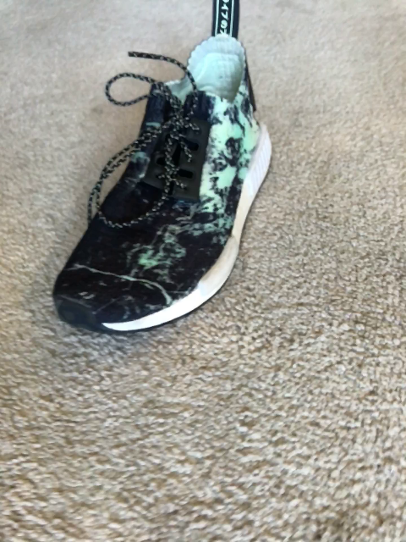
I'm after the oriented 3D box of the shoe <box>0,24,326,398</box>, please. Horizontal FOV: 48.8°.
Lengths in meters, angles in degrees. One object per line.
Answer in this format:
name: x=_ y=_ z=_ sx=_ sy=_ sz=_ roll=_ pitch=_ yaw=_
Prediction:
shoe: x=-0.013 y=-0.074 z=0.341 sx=0.131 sy=0.100 sz=0.288 roll=16 pitch=51 yaw=17
